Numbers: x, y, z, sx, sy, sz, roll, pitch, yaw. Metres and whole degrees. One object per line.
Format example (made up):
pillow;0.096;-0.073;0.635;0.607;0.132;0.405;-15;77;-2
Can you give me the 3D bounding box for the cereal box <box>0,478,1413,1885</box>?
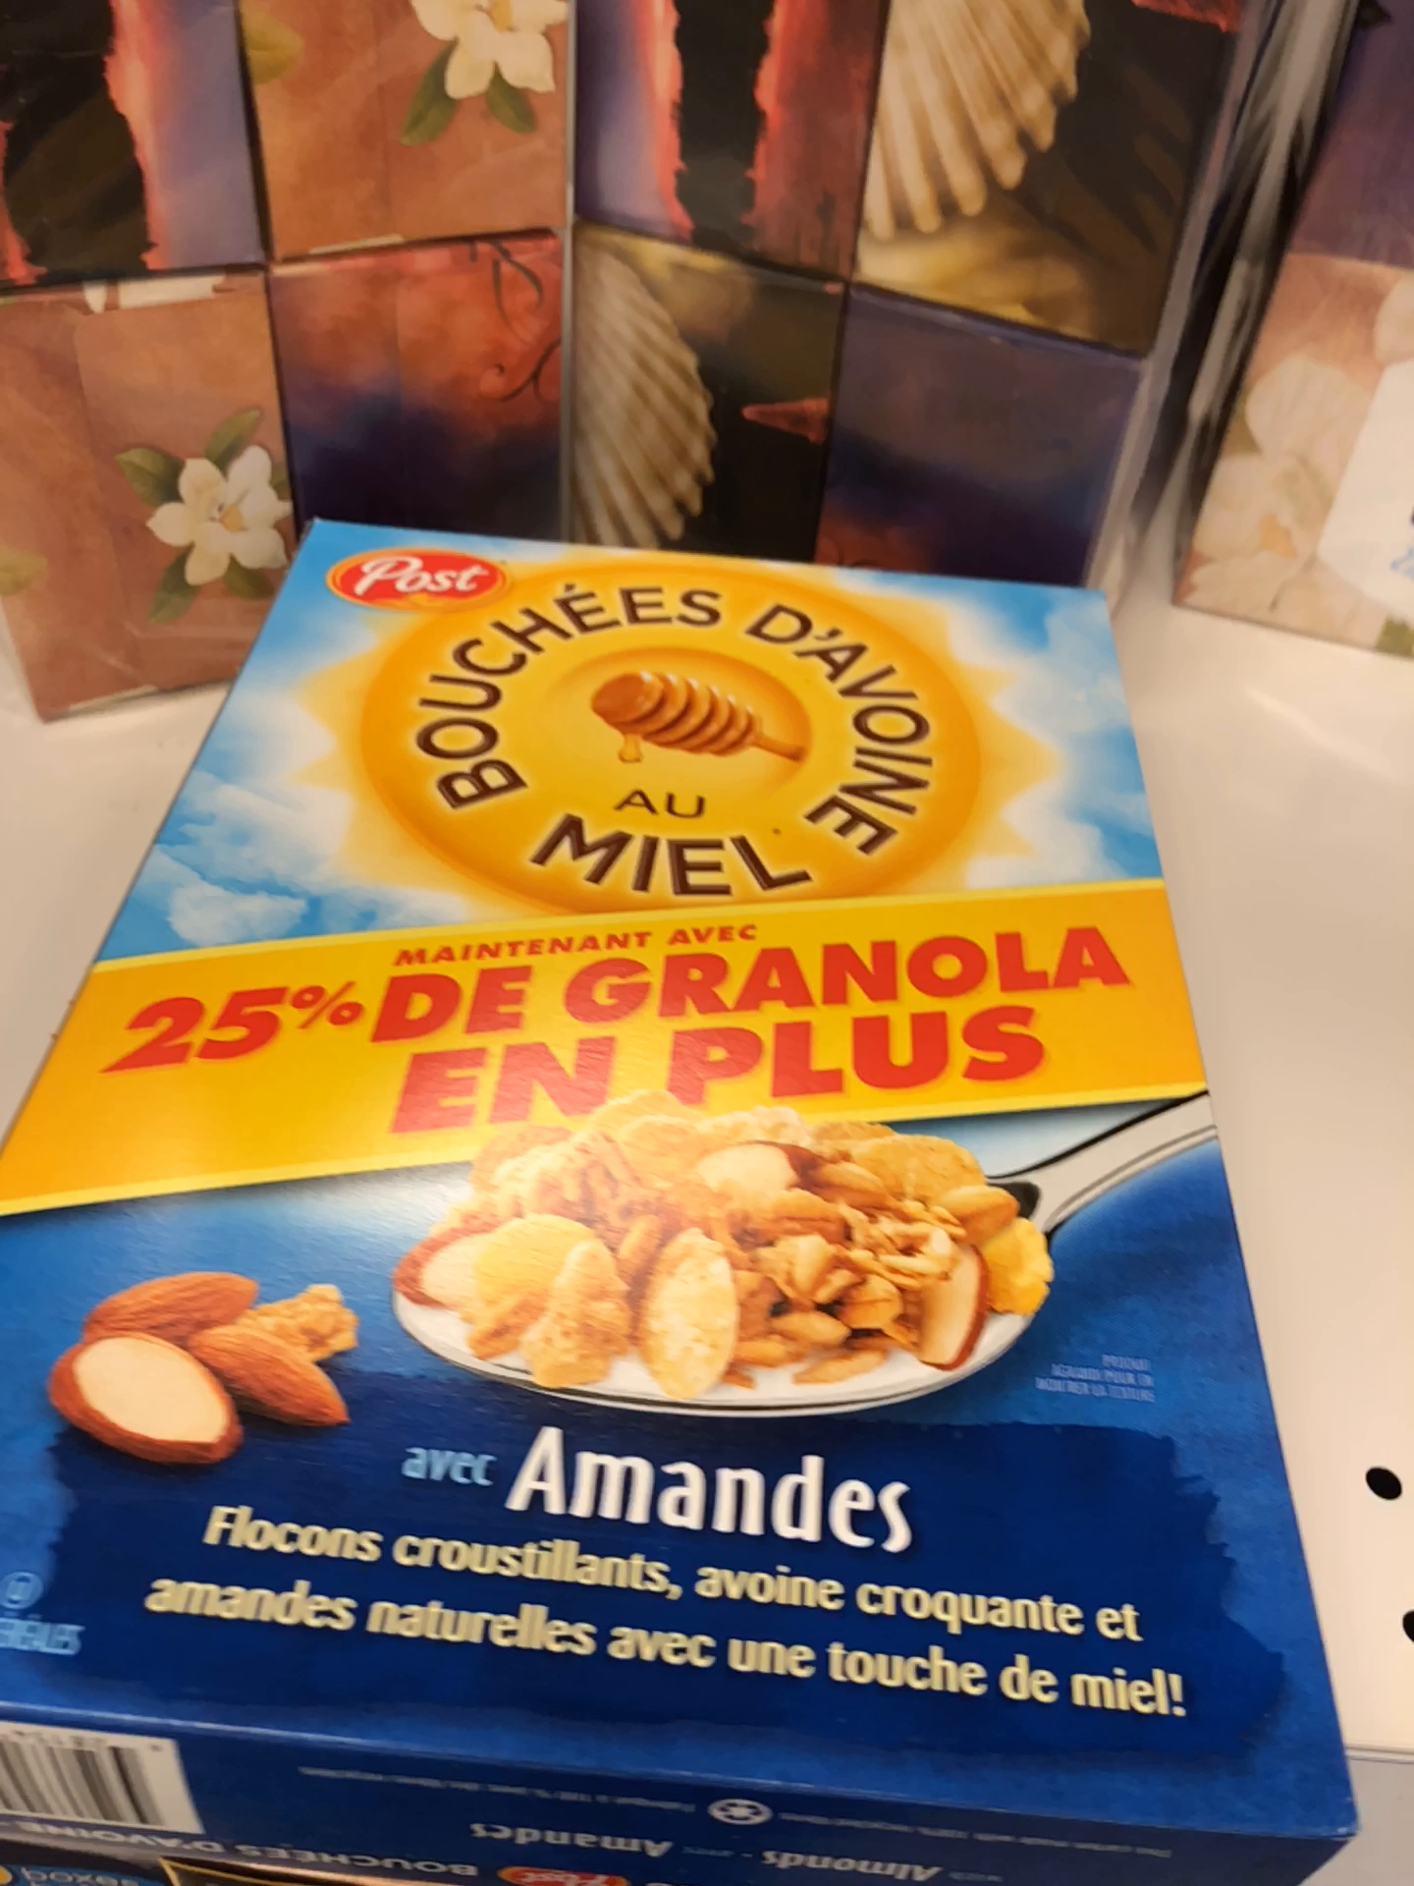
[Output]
cereal box;-0.014;0.015;0.289;0.210;0.050;0.271;6;44;0
